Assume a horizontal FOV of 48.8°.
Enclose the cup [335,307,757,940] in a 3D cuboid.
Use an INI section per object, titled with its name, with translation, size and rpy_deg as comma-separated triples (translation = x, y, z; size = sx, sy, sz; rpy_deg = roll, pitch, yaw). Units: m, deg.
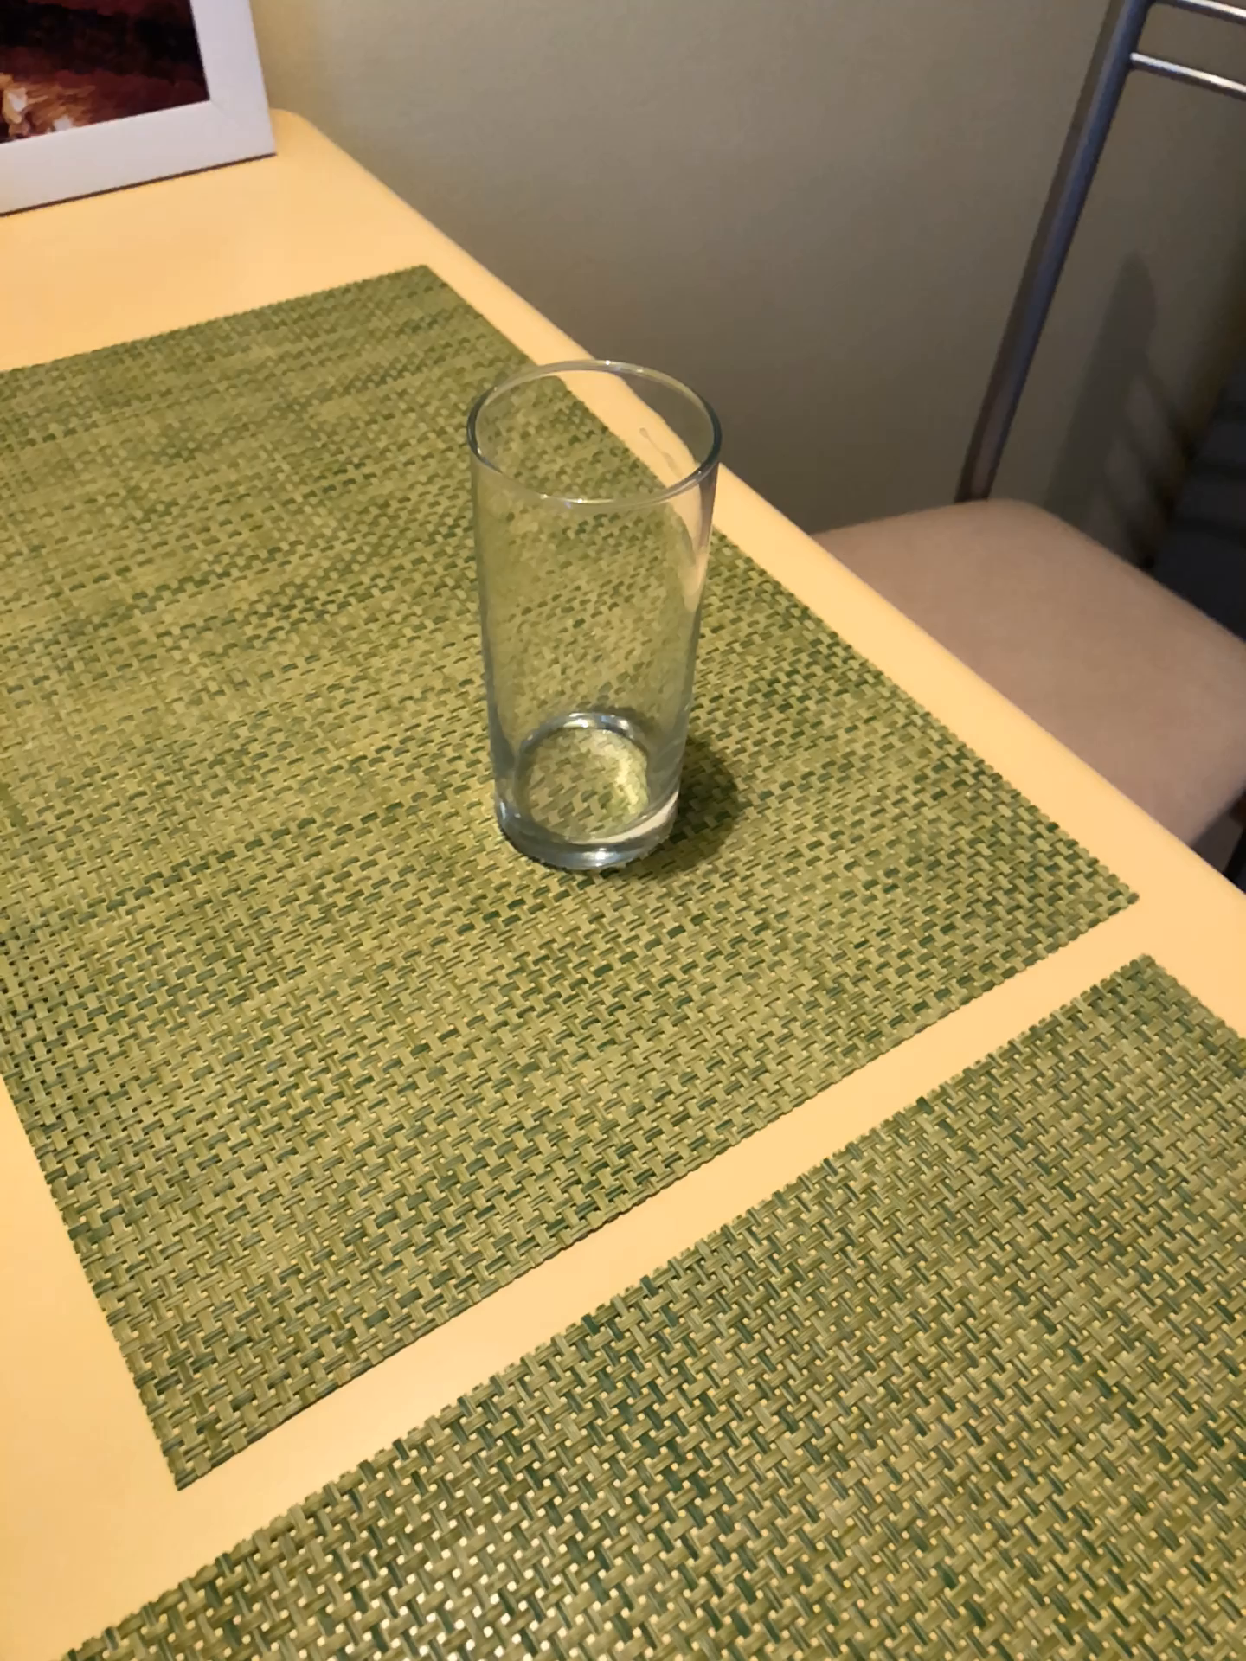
[cup]
translation = -0.021, -0.052, 0.374
size = 0.070, 0.139, 0.070
rpy_deg = 2, 48, -2
